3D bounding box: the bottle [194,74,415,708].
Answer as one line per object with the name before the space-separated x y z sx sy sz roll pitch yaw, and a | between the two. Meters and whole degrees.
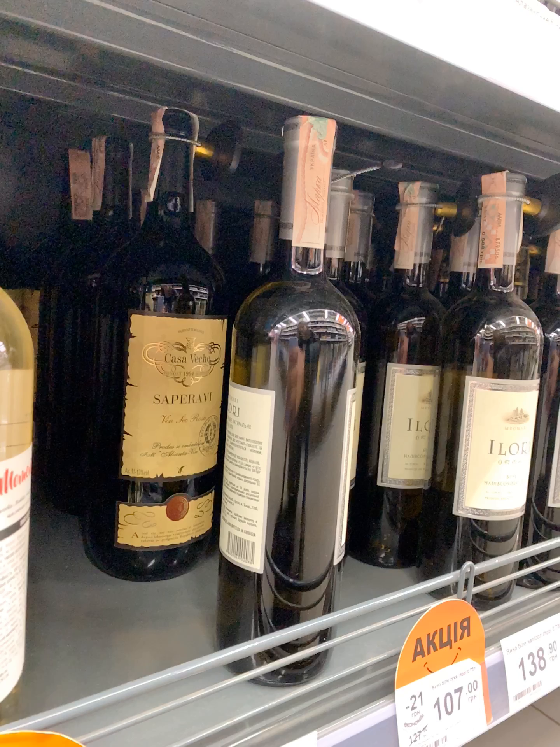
bottle | 0.007 0.014 0.333 0.069 0.319 0.070 5 8 -1
